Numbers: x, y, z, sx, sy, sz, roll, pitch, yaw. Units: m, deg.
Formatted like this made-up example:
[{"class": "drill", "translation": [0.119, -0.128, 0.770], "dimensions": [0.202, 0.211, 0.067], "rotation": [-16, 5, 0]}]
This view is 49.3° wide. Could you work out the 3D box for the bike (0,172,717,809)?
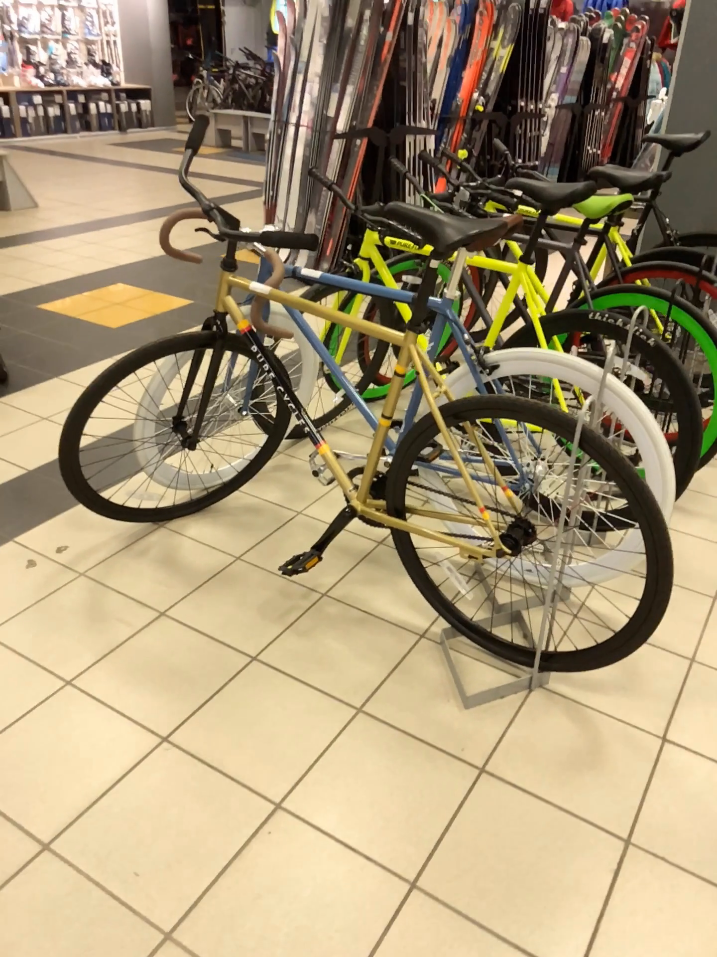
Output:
[{"class": "bike", "translation": [-0.100, -0.039, 1.791], "dimensions": [1.462, 1.092, 0.675], "rotation": [8, 27, 22]}]
